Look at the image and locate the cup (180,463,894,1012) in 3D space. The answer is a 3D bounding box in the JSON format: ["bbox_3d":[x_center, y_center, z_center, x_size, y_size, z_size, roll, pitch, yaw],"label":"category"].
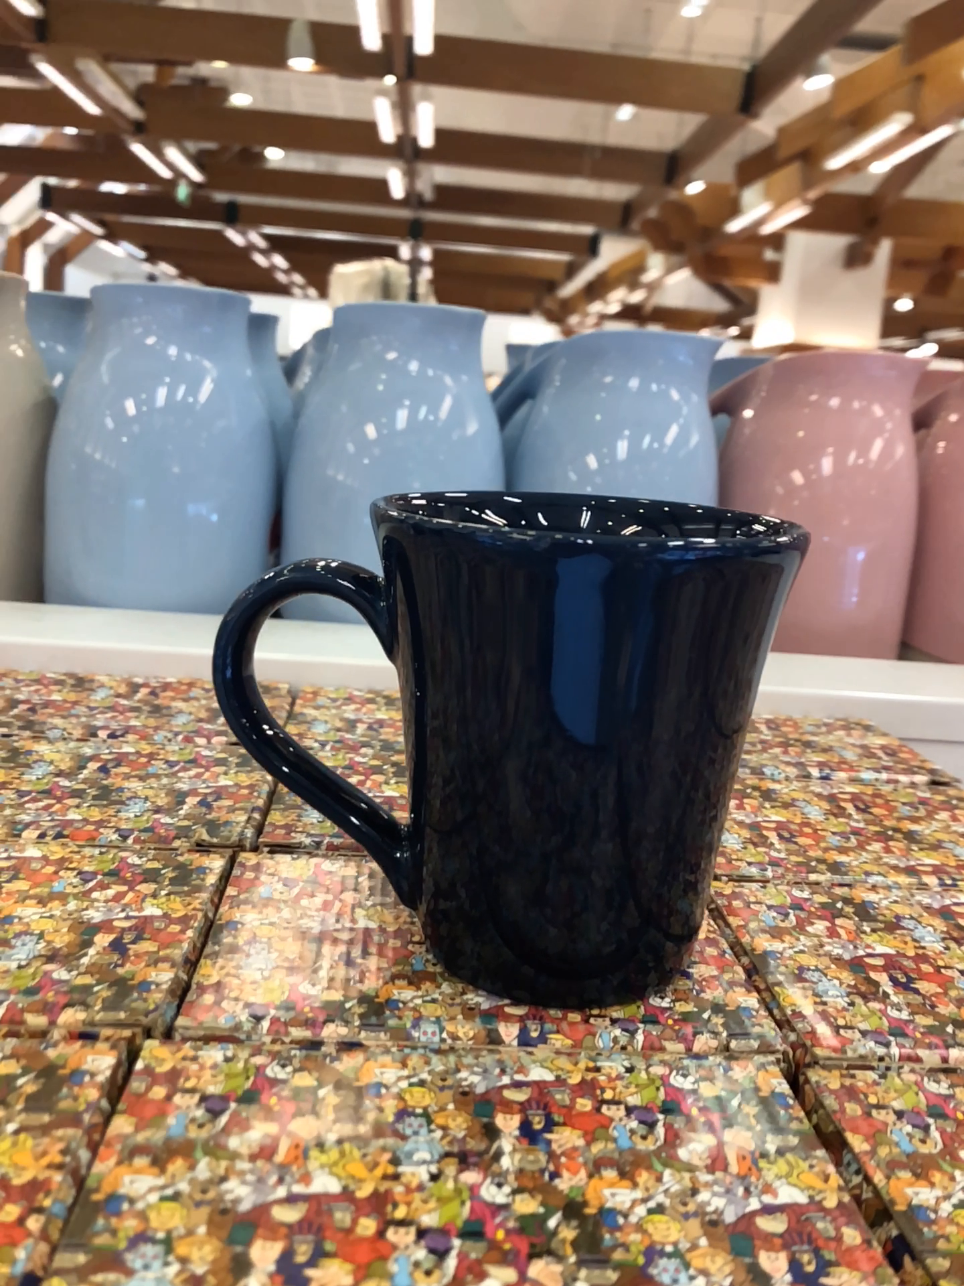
[{"bbox_3d":[0.004,0.012,0.238,0.120,0.090,0.100,3,12,-6],"label":"cup"}]
